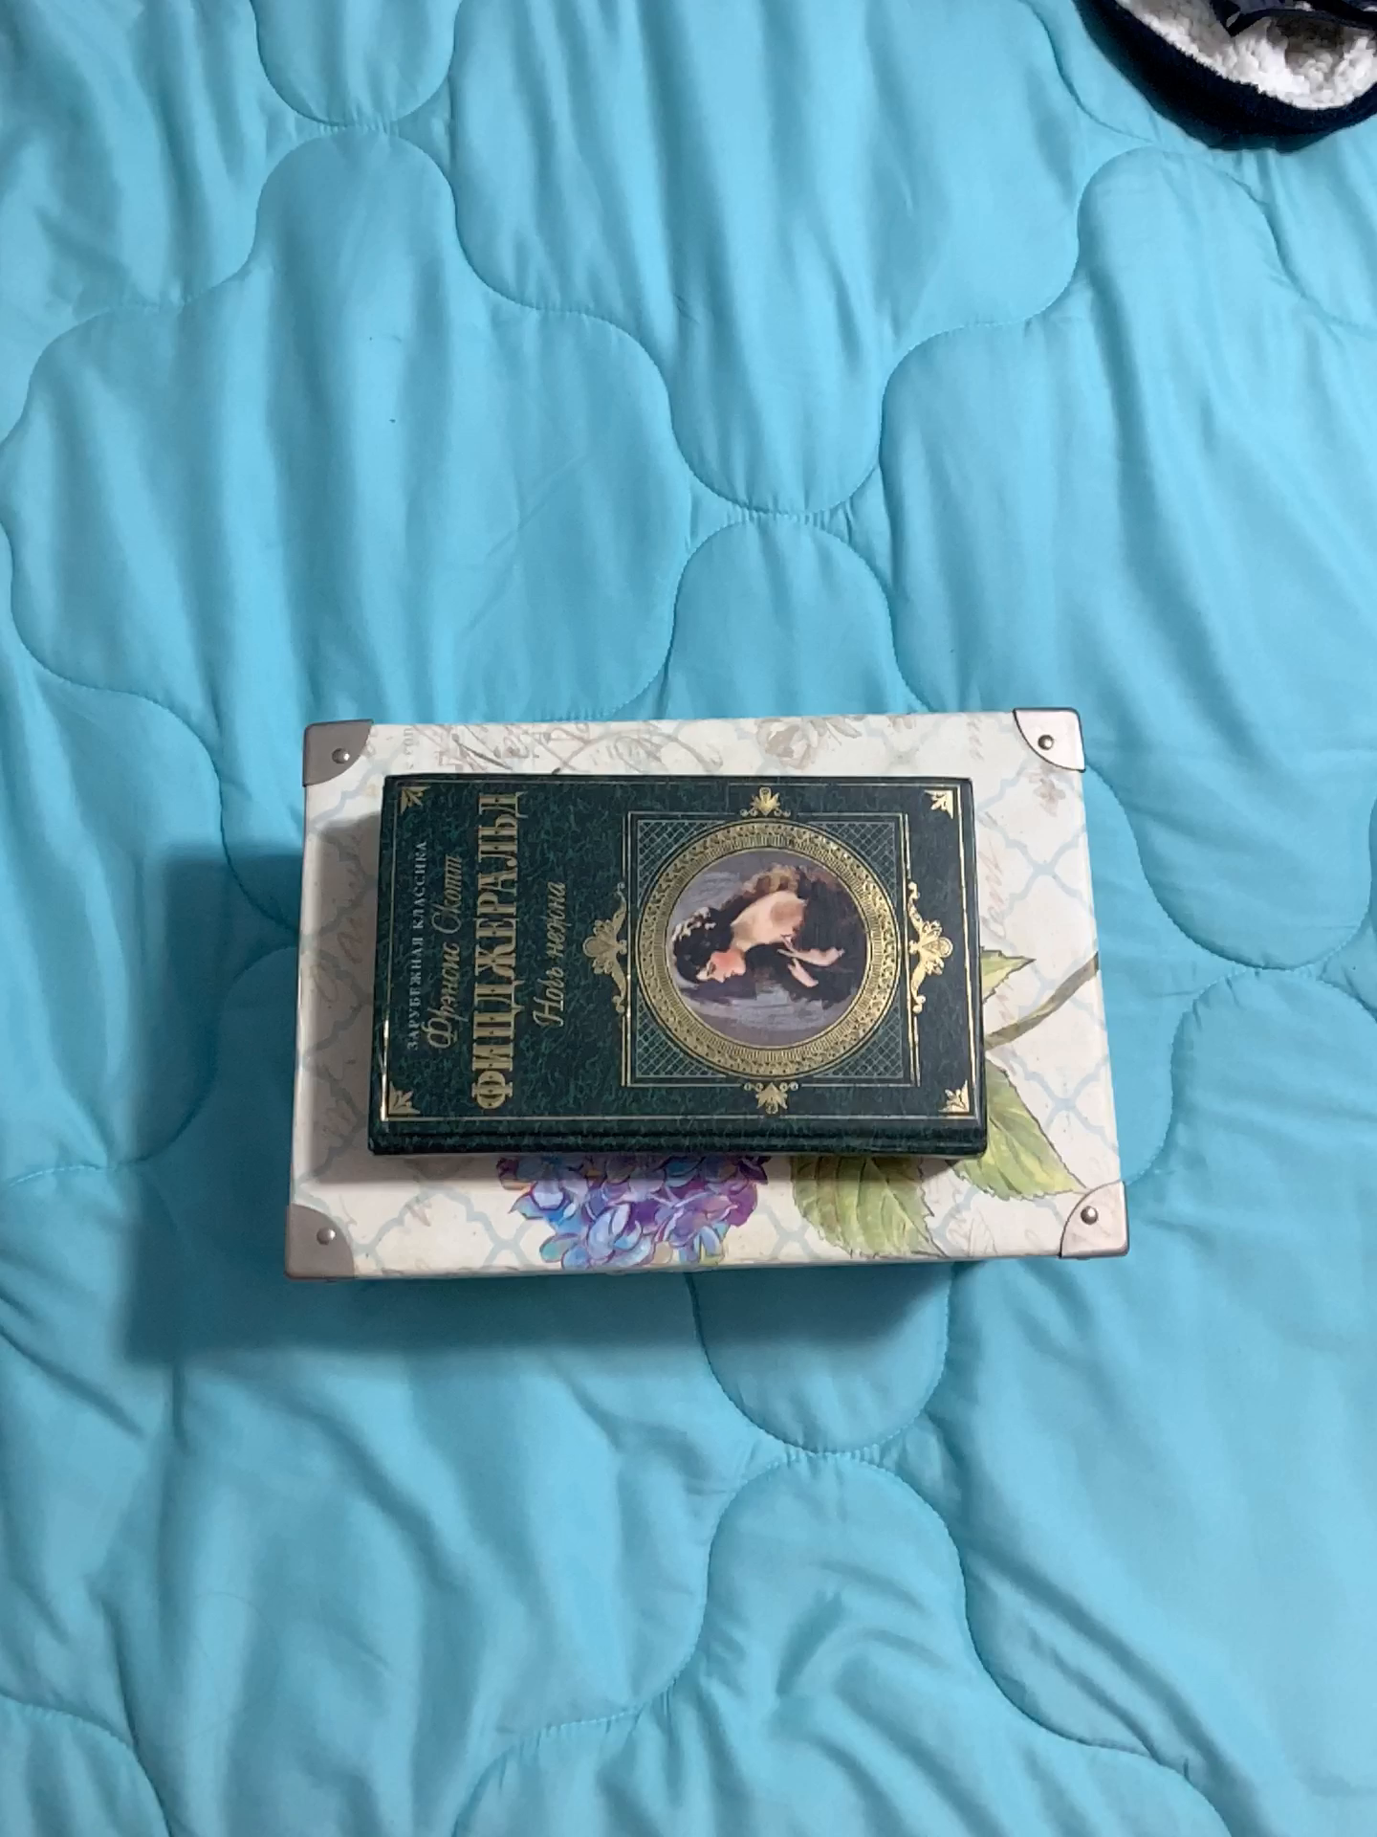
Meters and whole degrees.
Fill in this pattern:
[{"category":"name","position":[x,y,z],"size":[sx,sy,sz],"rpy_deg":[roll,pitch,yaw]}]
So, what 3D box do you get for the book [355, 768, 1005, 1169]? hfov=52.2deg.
[{"category":"book","position":[-0.003,0.018,0.505],"size":[0.220,0.030,0.140],"rpy_deg":[0,78,-2]}]
